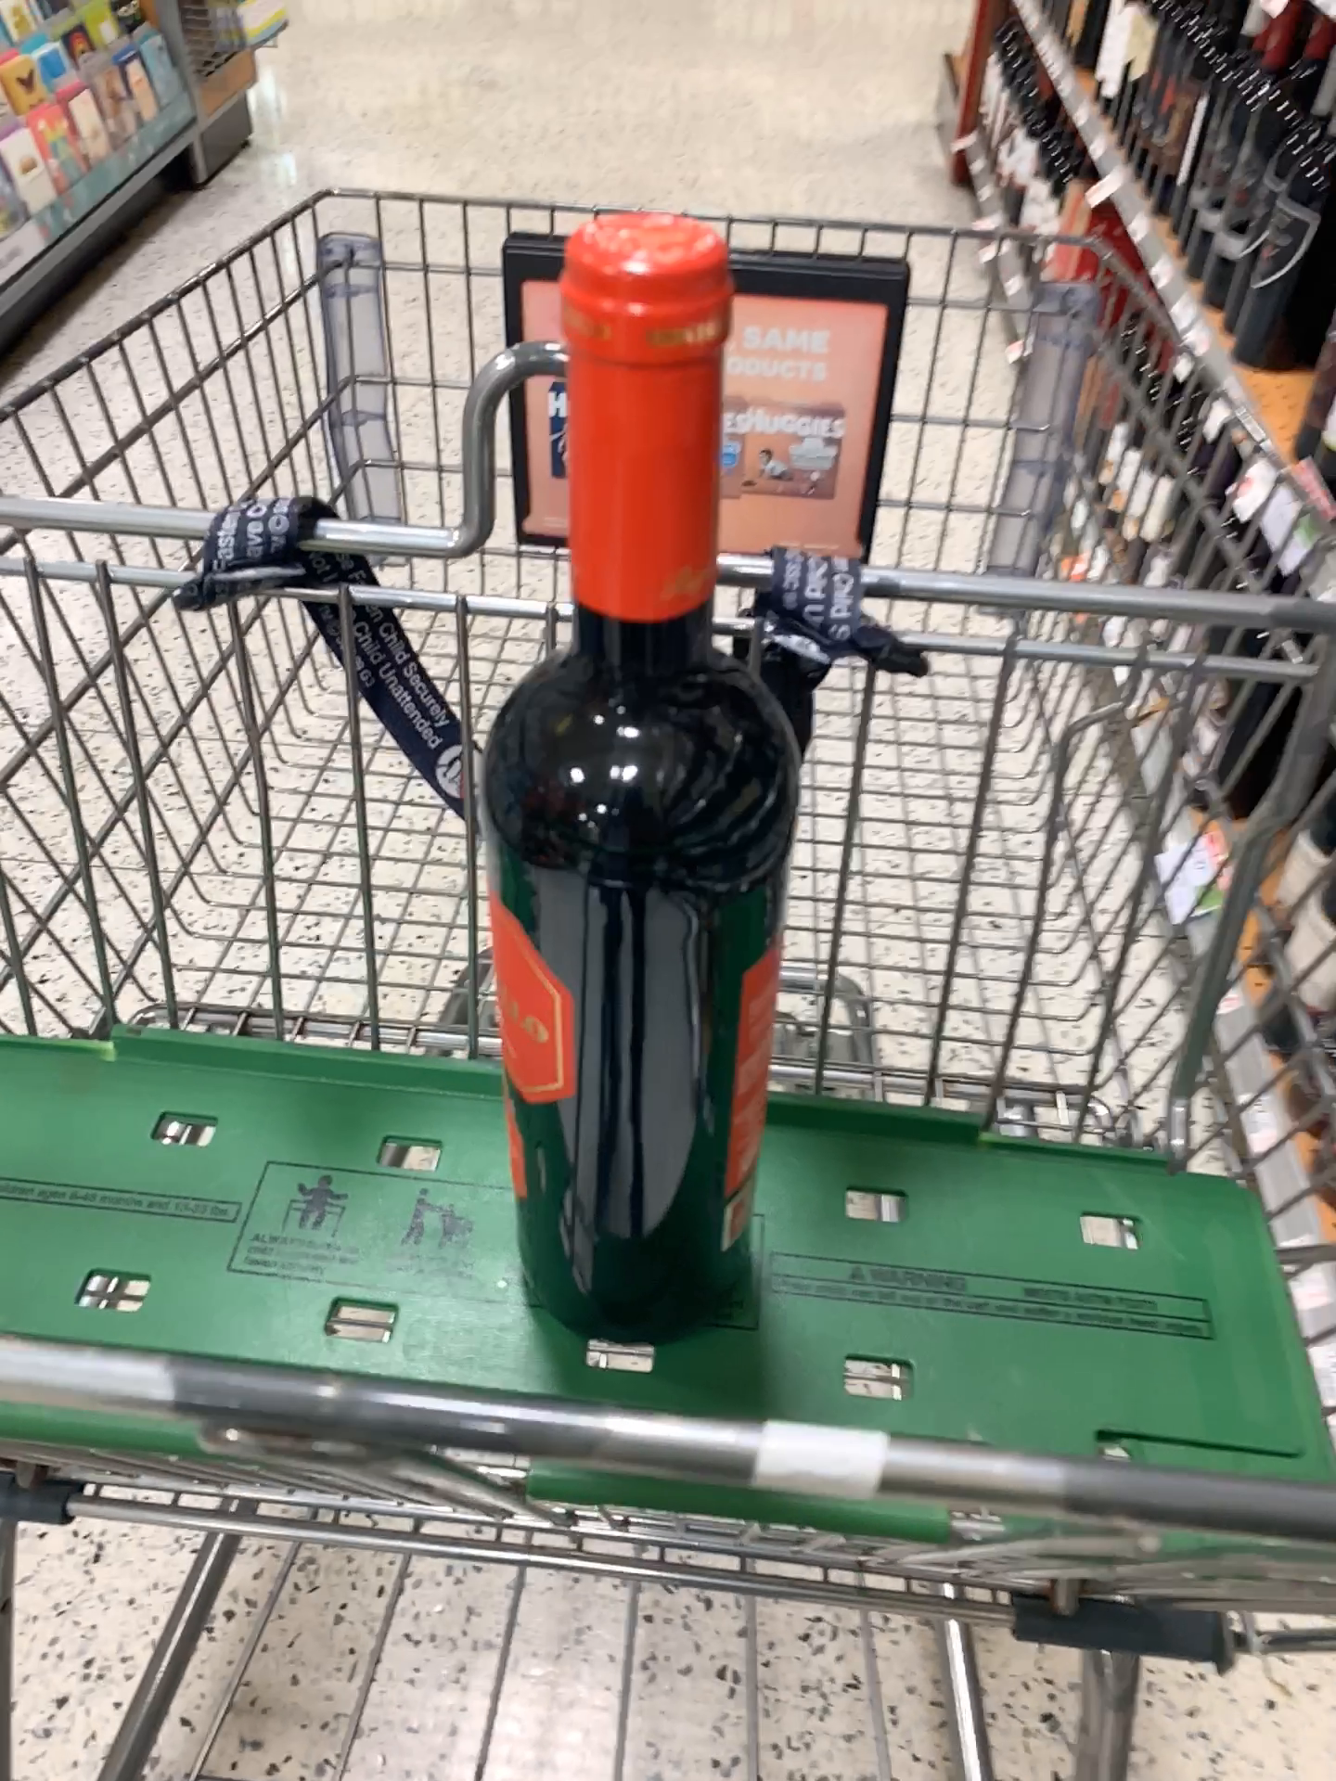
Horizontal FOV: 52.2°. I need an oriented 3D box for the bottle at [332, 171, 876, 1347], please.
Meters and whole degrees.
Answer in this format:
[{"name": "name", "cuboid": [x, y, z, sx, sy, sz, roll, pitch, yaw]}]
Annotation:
[{"name": "bottle", "cuboid": [-0.013, 0.000, 0.332, 0.080, 0.297, 0.081, 1, 44, -1]}]
